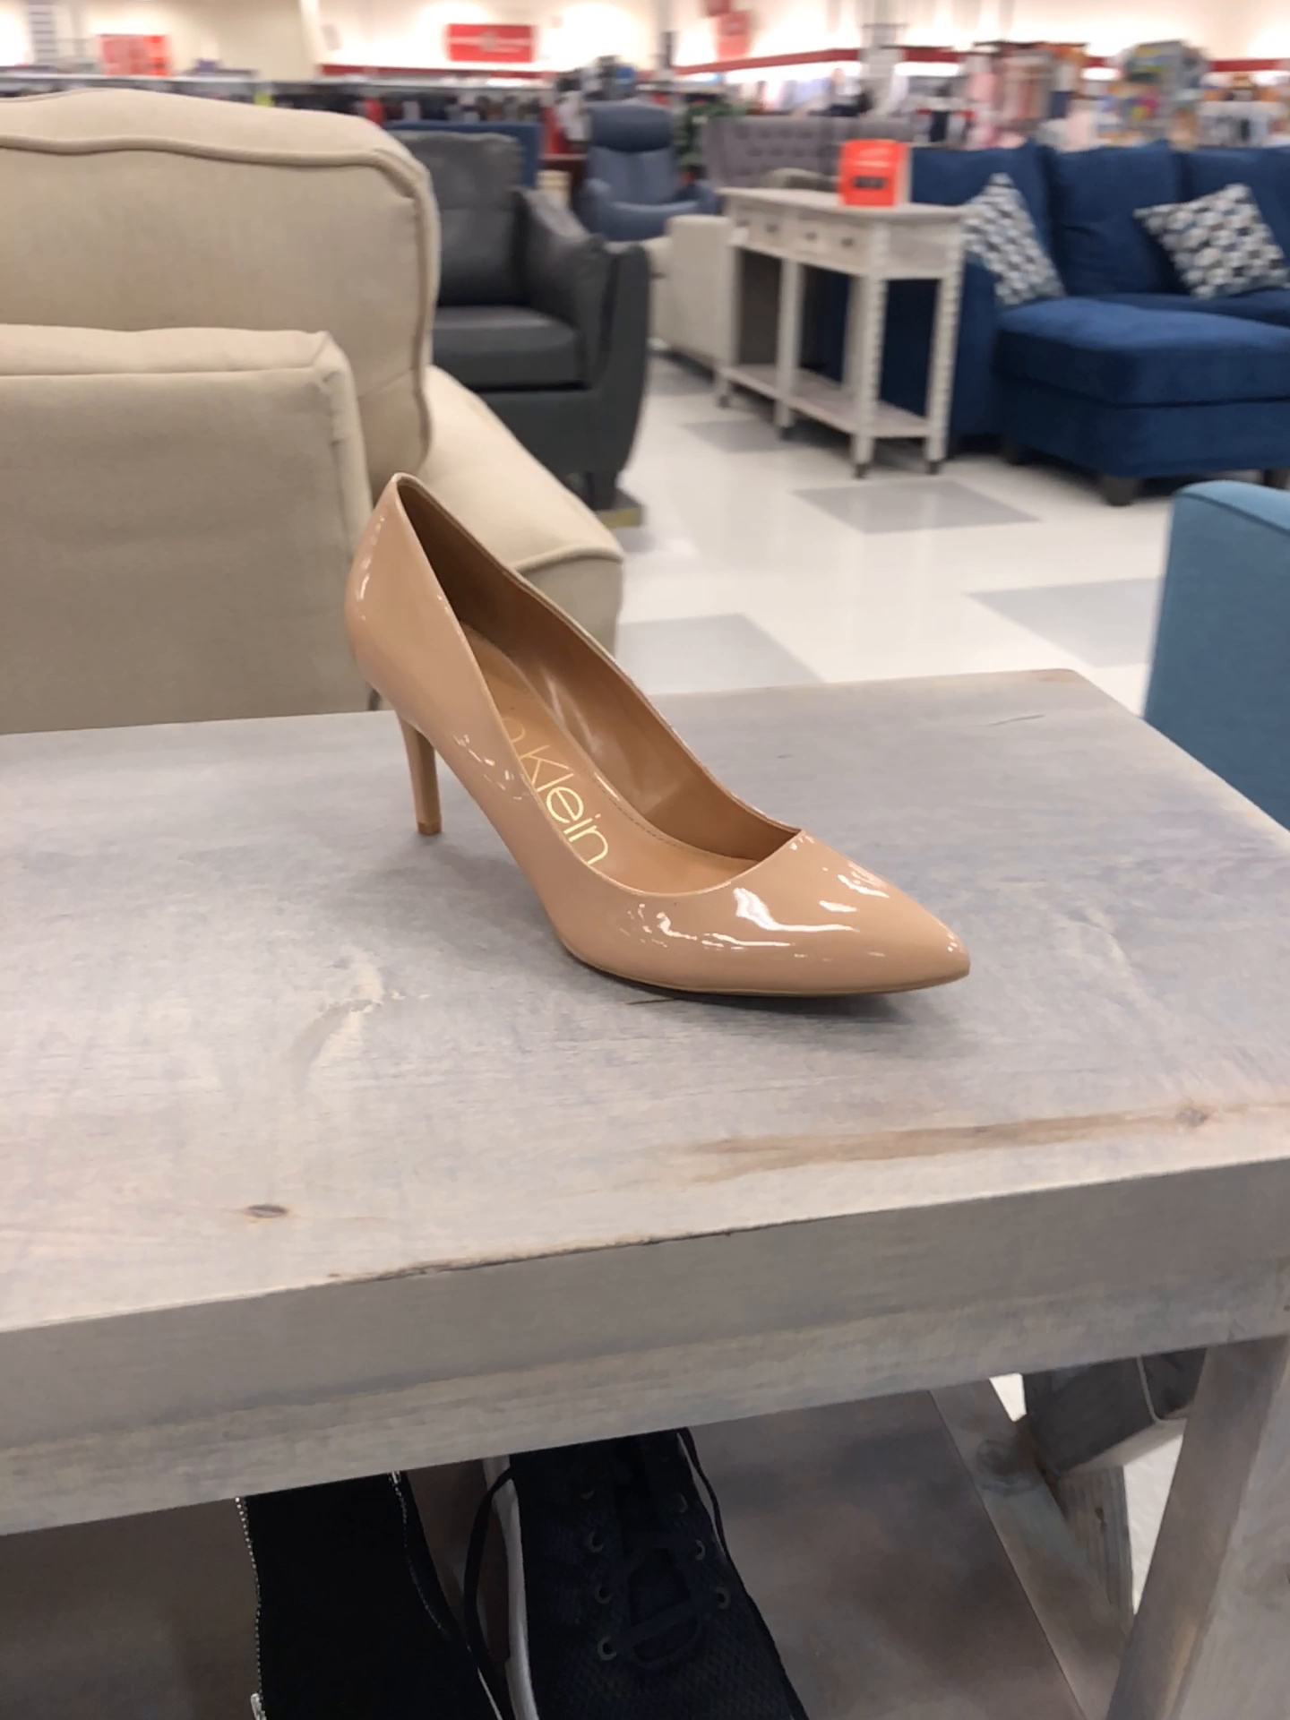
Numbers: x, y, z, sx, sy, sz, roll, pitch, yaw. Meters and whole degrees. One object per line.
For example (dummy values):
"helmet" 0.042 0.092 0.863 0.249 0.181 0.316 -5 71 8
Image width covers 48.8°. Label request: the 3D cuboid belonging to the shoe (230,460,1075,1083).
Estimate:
"shoe" -0.008 -0.047 0.489 0.268 0.129 0.097 18 32 31
